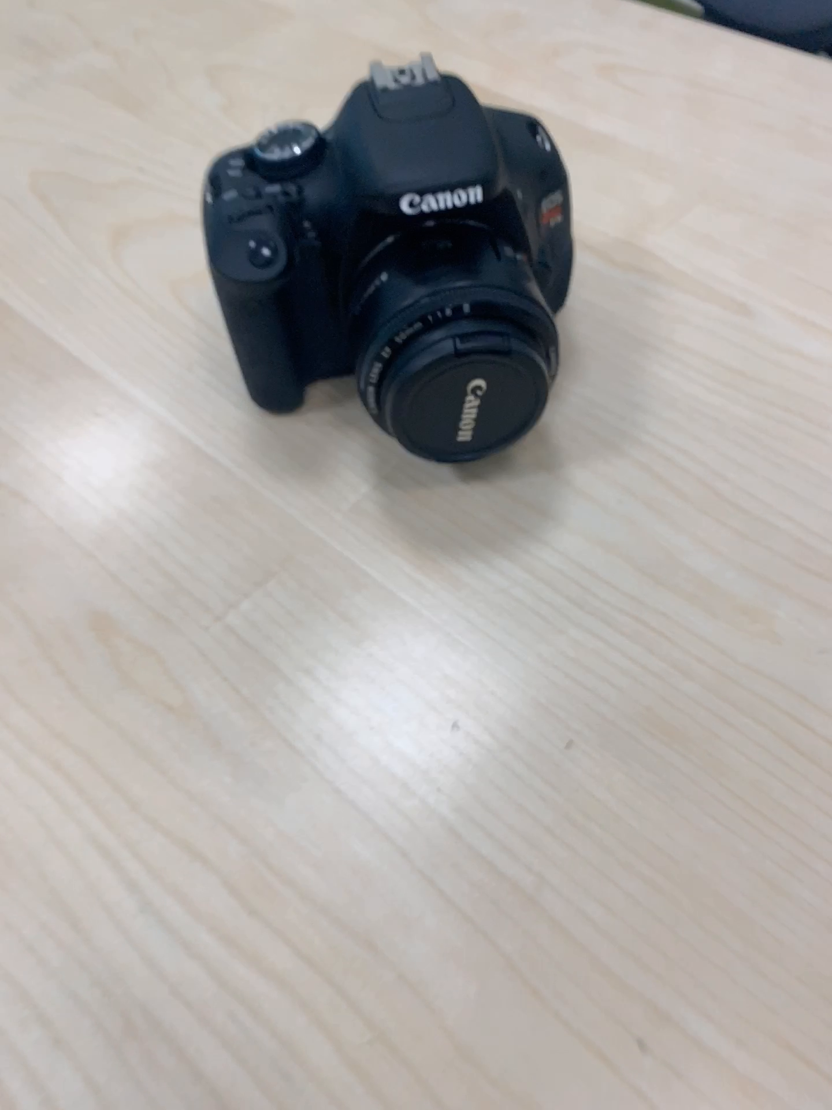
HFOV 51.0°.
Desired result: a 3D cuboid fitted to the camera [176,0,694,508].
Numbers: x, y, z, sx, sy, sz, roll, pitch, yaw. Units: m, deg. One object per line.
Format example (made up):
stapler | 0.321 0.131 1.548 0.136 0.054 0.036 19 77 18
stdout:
camera | -0.001 -0.102 0.291 0.130 0.090 0.120 -11 56 -2
